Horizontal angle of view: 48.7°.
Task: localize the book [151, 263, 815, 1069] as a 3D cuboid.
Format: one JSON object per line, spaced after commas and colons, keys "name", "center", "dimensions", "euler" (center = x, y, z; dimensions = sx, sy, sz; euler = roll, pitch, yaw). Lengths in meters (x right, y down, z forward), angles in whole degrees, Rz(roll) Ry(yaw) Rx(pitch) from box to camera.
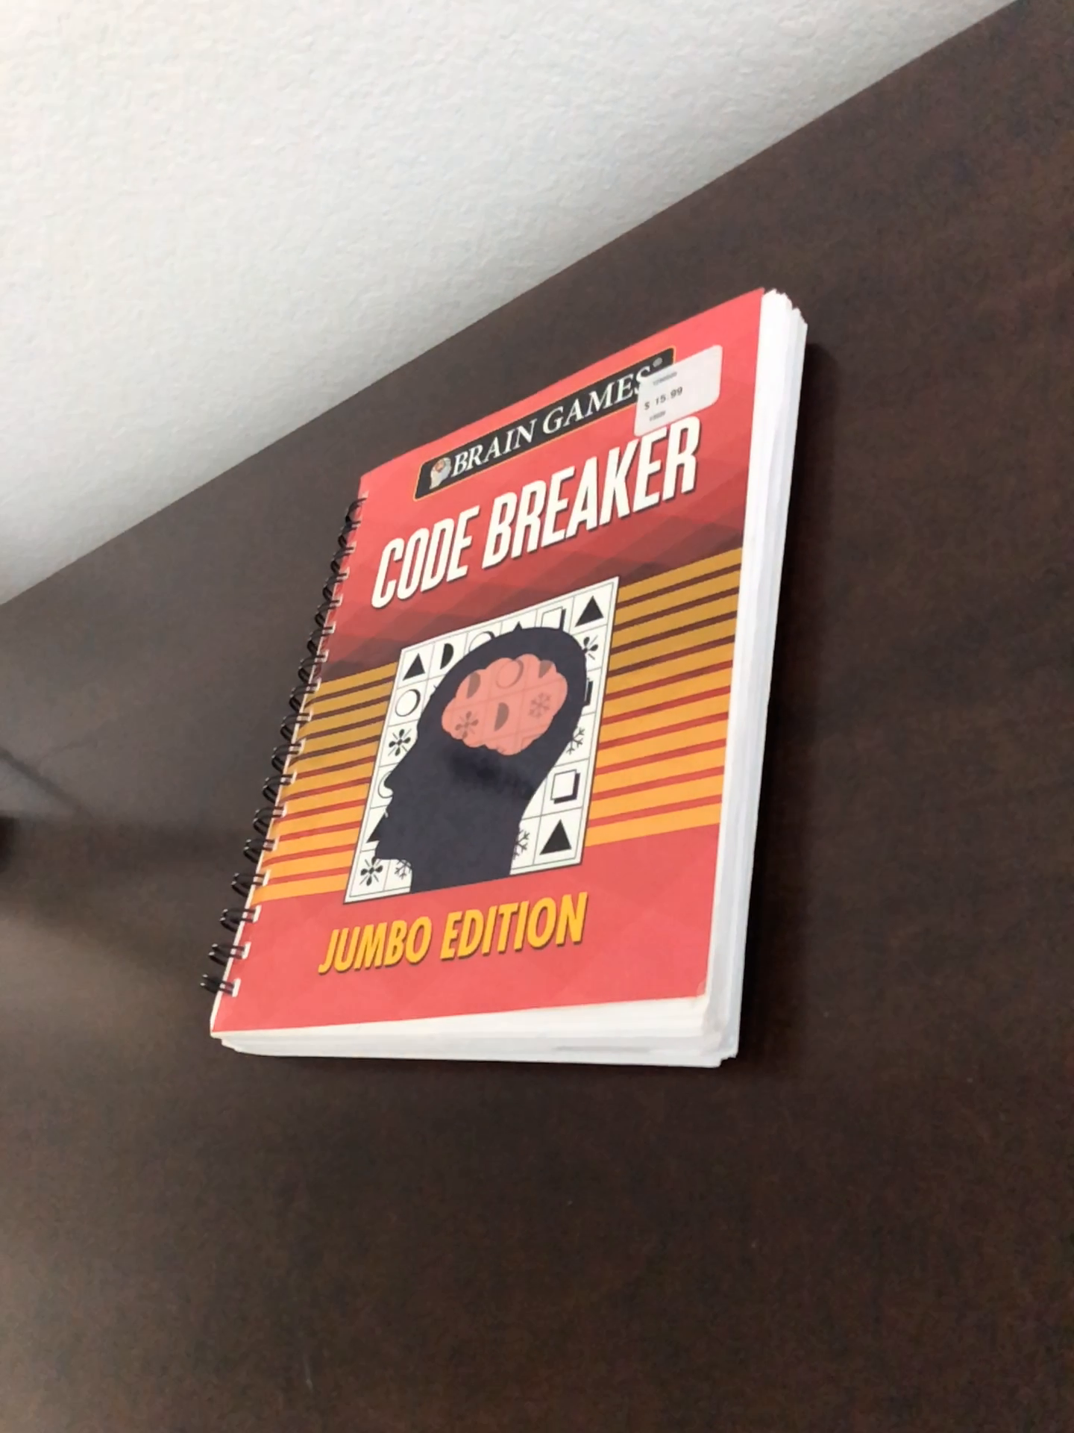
{"name": "book", "center": [-0.018, -0.008, 0.368], "dimensions": [0.203, 0.030, 0.224], "euler": [-14, 54, 39]}
